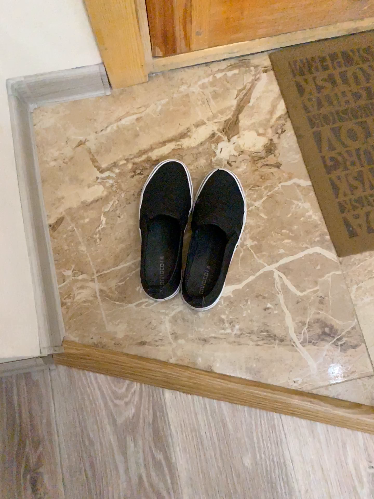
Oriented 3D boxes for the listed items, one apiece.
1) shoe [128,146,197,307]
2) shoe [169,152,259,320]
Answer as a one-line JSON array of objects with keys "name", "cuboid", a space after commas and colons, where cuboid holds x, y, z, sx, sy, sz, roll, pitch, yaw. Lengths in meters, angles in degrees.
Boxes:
[{"name": "shoe", "cuboid": [-0.035, -0.038, 0.624, 0.090, 0.060, 0.250, 3, 76, 1]}, {"name": "shoe", "cuboid": [0.045, -0.023, 0.621, 0.090, 0.060, 0.250, 12, 76, 4]}]
